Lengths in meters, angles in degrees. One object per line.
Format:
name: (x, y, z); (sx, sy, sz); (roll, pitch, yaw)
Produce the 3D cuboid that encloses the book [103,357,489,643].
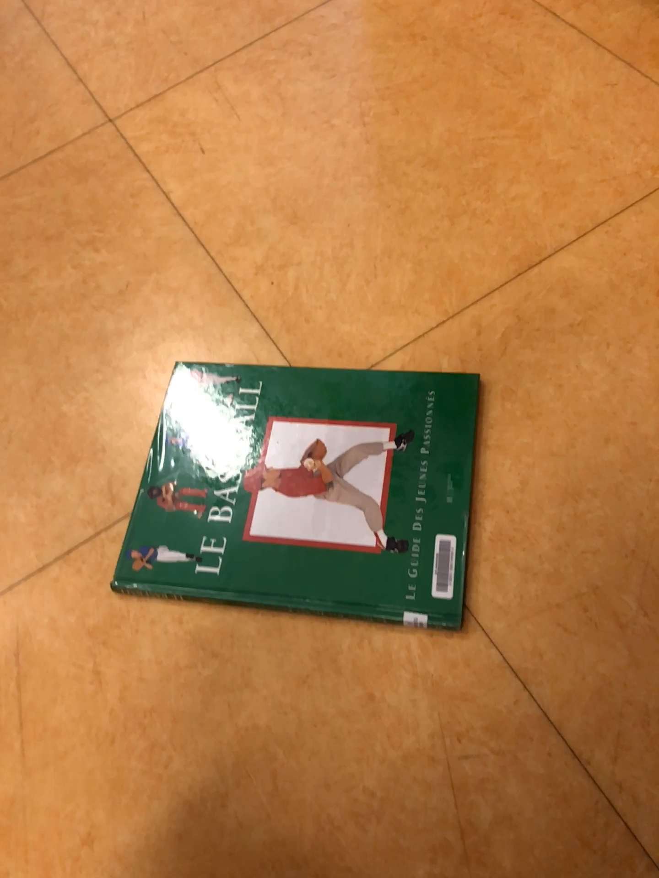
book: (-0.020, 0.036, 0.585); (0.280, 0.020, 0.220); (3, 63, 12)
